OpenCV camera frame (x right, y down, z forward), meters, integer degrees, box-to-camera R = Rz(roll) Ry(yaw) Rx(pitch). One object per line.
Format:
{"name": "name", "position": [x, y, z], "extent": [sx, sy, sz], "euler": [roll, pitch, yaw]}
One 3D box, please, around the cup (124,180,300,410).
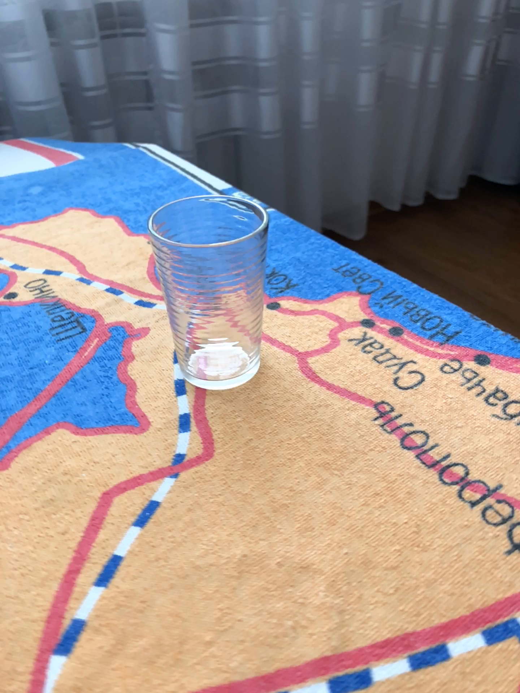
{"name": "cup", "position": [-0.027, -0.032, 0.340], "extent": [0.070, 0.099, 0.068], "euler": [0, 38, 0]}
